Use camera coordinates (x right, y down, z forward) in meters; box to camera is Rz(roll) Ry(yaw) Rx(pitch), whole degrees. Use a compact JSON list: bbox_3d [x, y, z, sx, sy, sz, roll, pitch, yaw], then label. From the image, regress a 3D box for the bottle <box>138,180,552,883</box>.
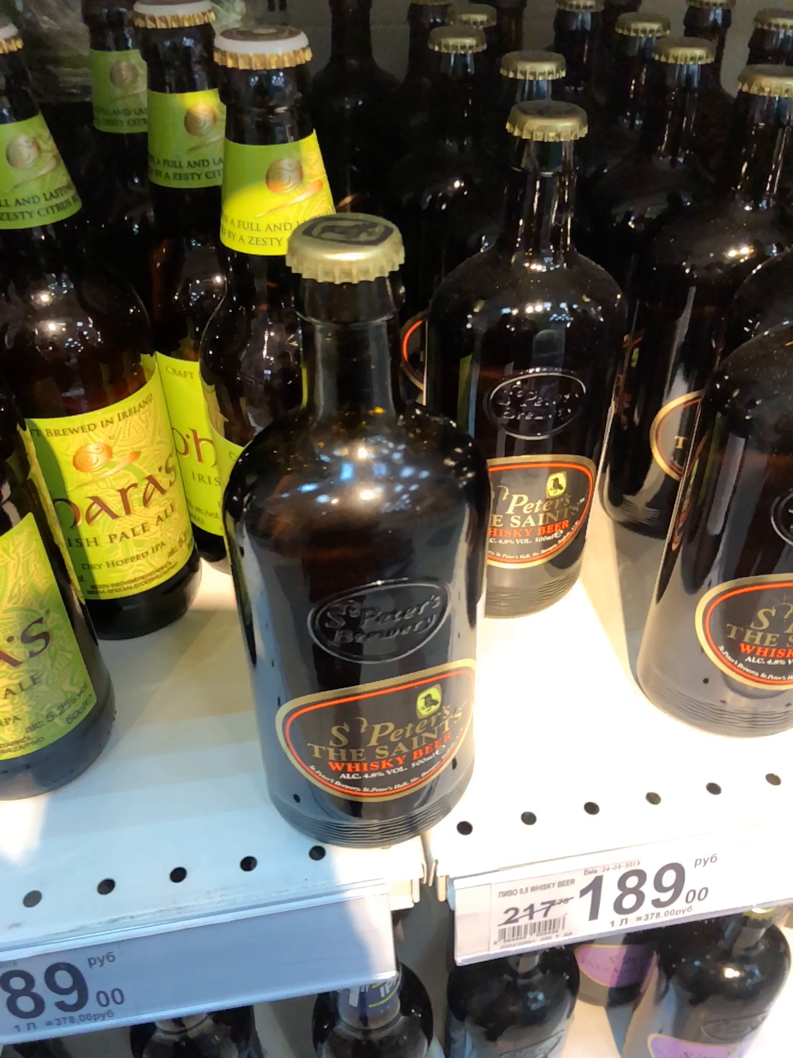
[{"bbox_3d":[-0.014,0.017,0.283,0.090,0.229,0.060,-7,39,-8],"label":"bottle"}]
